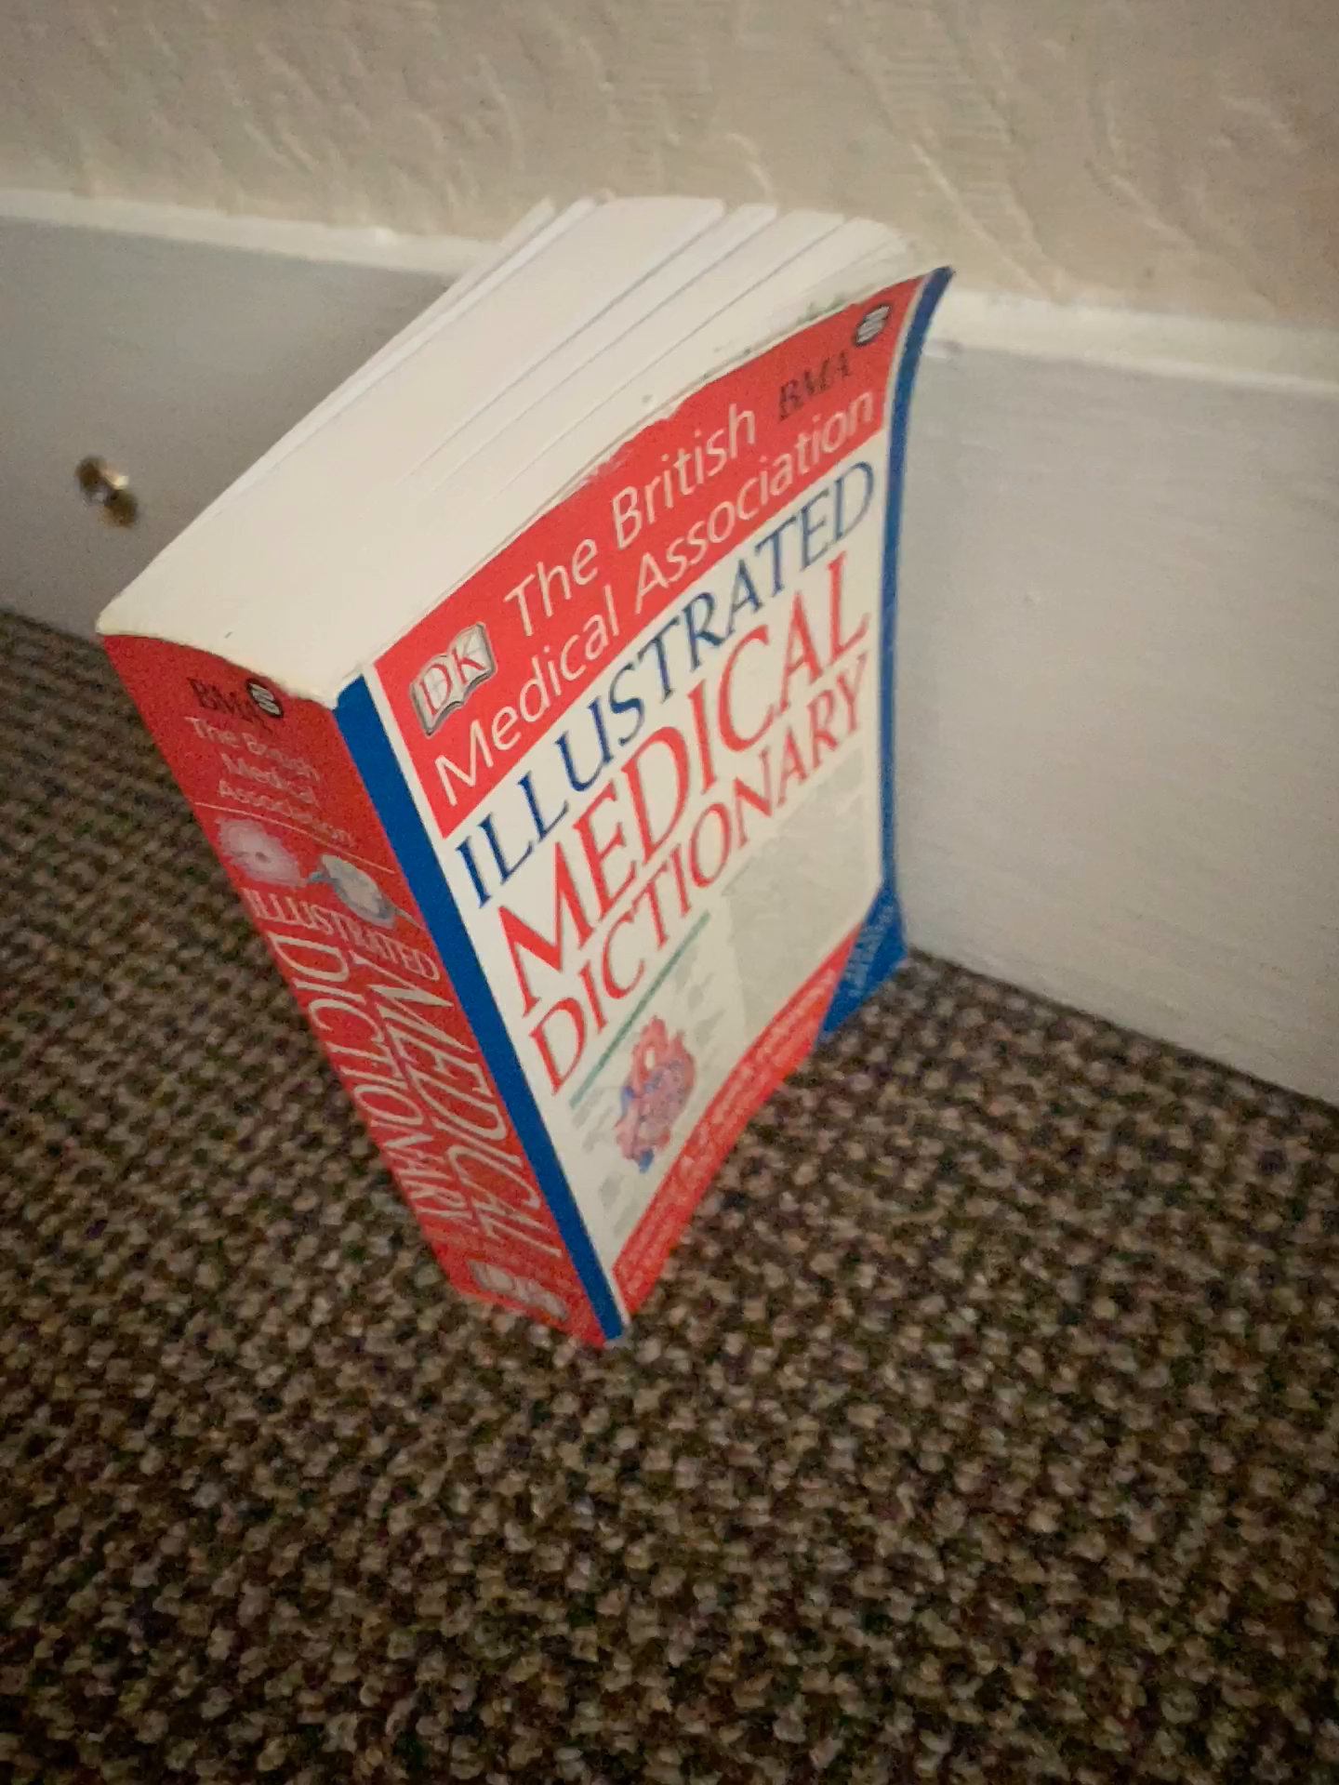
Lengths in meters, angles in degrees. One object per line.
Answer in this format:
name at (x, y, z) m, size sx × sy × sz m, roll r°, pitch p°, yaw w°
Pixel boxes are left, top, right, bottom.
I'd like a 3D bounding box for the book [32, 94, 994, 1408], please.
book at (0.001, -0.028, 0.299) m, size 0.060 × 0.198 × 0.191 m, roll 19°, pitch 52°, yaw 26°
